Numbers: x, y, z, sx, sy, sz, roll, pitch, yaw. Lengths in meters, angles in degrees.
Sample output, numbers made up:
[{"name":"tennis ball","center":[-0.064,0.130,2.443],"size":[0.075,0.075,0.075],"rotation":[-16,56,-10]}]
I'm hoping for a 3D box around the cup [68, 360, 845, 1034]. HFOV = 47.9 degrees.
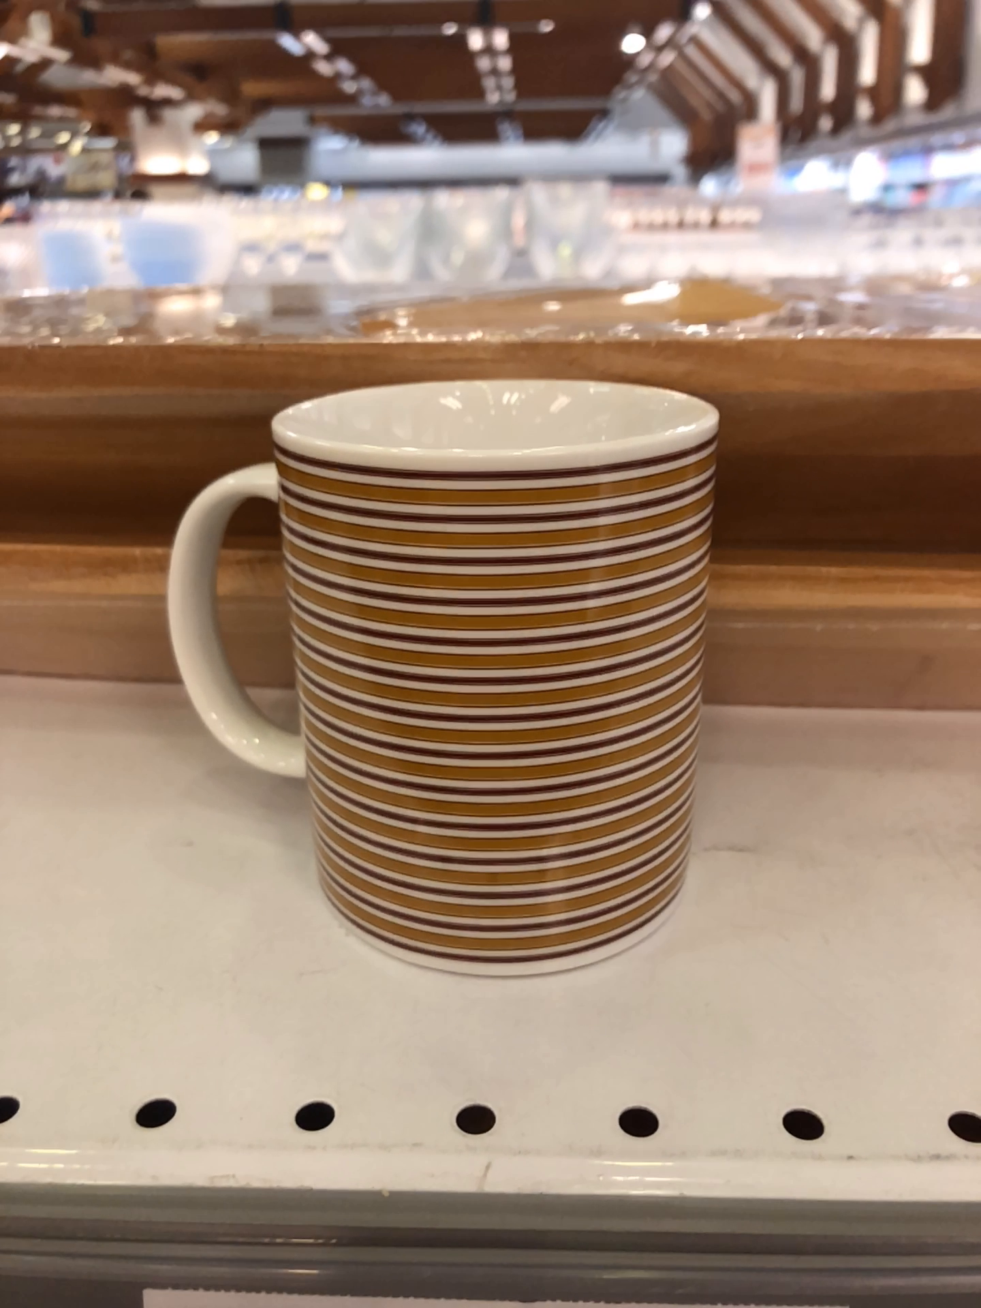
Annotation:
[{"name":"cup","center":[-0.006,-0.007,0.229],"size":[0.120,0.089,0.090],"rotation":[14,26,34]}]
